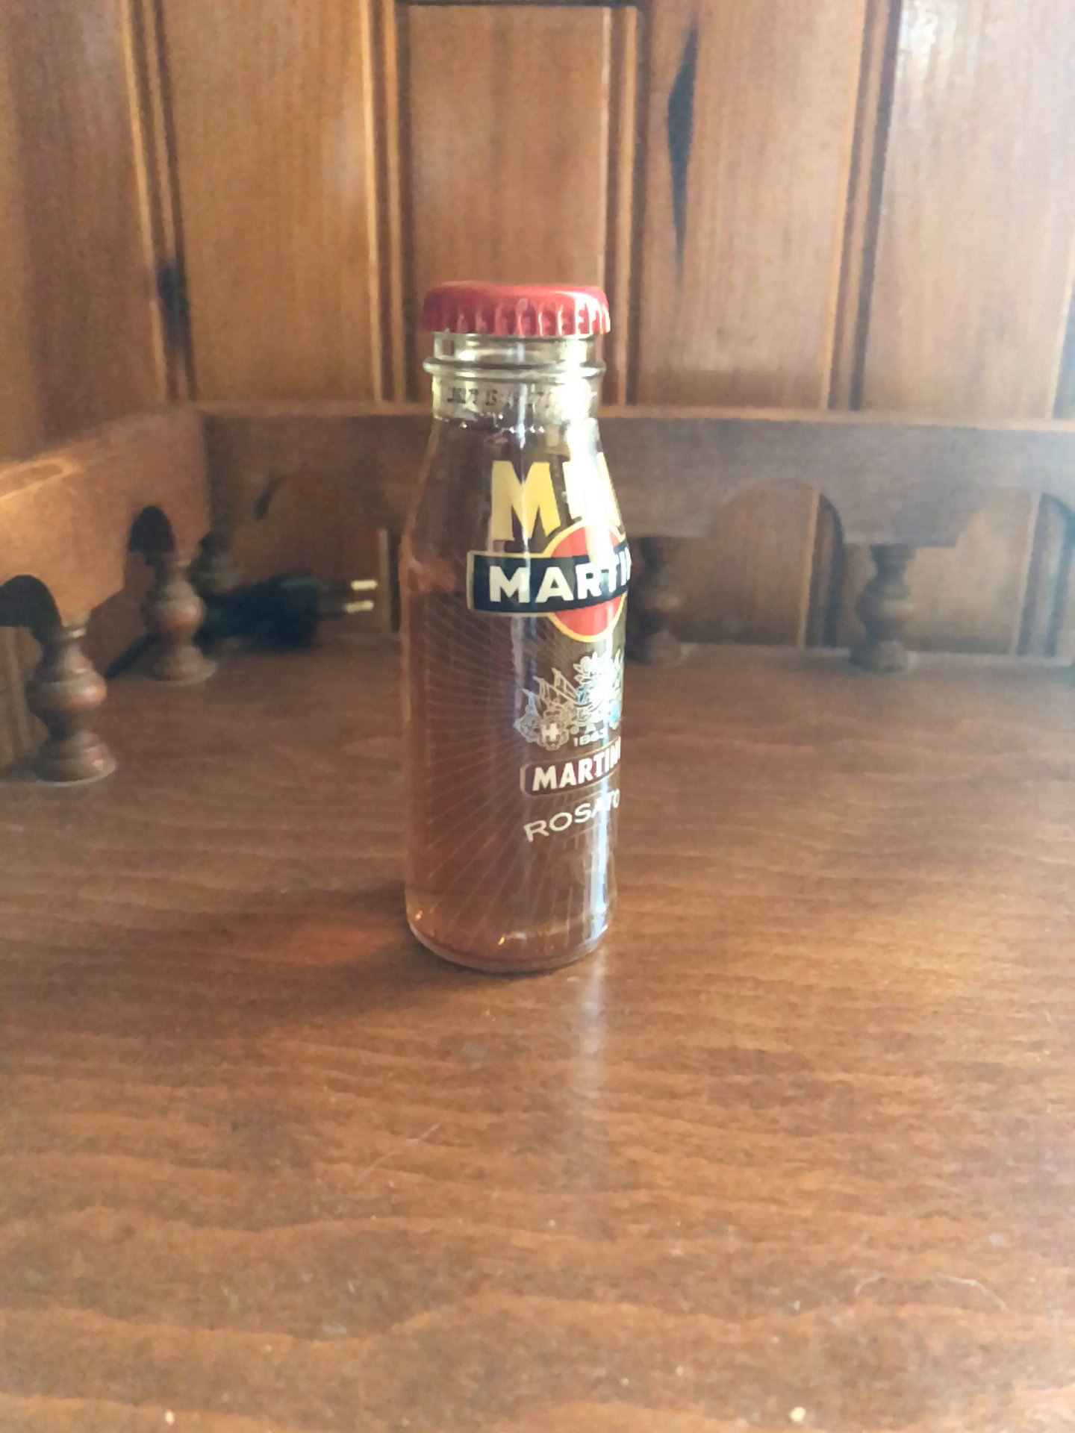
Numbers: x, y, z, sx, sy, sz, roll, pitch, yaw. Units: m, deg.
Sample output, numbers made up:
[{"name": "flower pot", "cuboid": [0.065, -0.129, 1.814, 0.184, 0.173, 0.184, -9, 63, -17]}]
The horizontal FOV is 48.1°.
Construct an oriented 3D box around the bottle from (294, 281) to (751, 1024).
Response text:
[{"name": "bottle", "cuboid": [-0.004, -0.015, 0.206, 0.050, 0.109, 0.050, 1, 21, 0]}]
